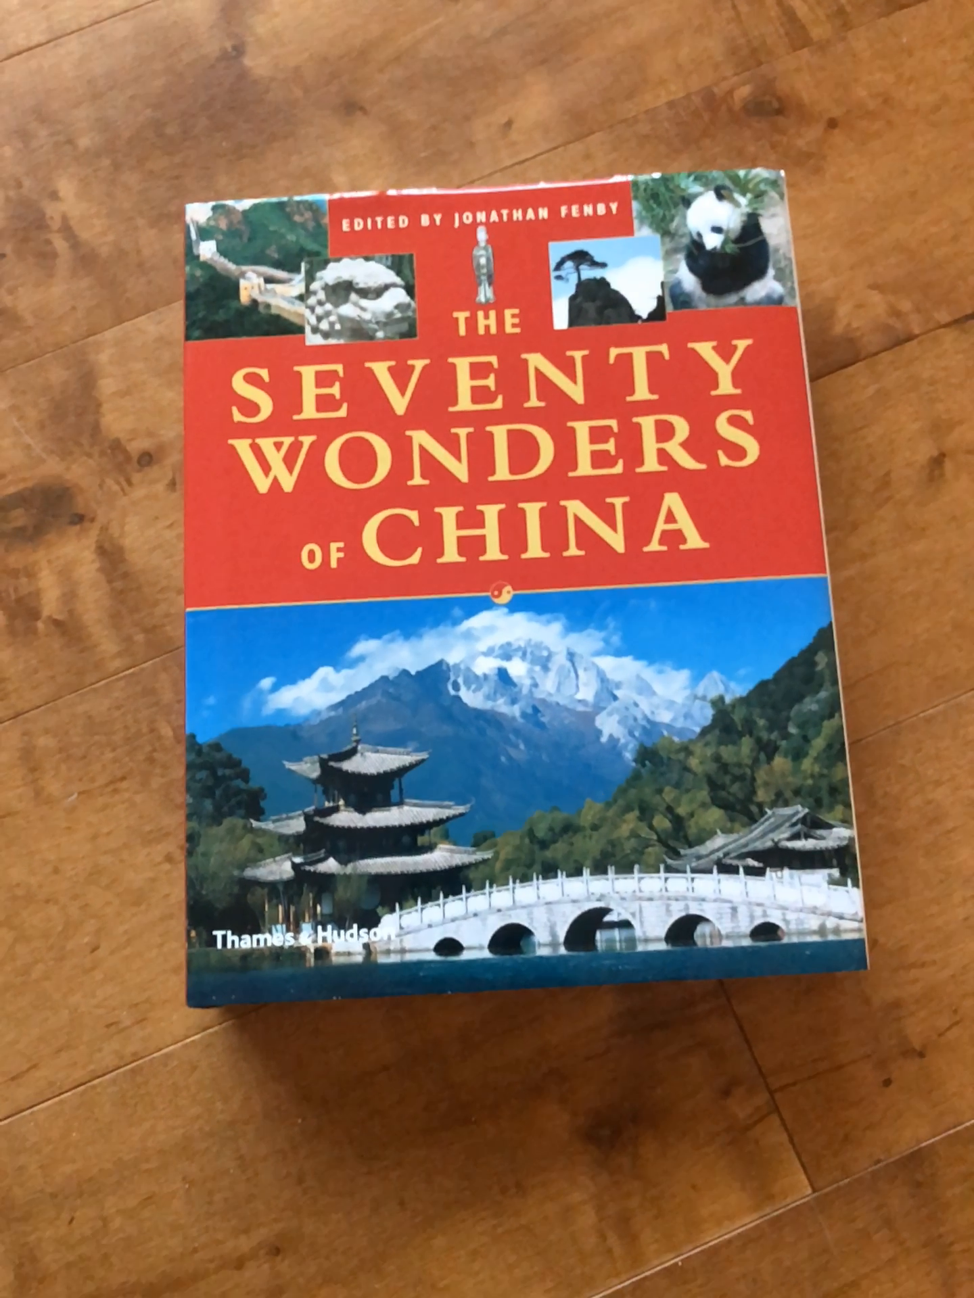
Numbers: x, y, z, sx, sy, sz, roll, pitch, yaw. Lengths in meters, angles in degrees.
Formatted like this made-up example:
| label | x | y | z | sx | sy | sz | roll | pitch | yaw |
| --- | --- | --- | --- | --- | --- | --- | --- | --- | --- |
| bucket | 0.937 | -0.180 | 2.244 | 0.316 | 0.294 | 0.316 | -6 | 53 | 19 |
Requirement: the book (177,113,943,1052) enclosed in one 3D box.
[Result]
| label | x | y | z | sx | sy | sz | roll | pitch | yaw |
| --- | --- | --- | --- | --- | --- | --- | --- | --- | --- |
| book | 0.014 | -0.027 | 0.364 | 0.220 | 0.050 | 0.290 | -4 | 79 | 1 |
